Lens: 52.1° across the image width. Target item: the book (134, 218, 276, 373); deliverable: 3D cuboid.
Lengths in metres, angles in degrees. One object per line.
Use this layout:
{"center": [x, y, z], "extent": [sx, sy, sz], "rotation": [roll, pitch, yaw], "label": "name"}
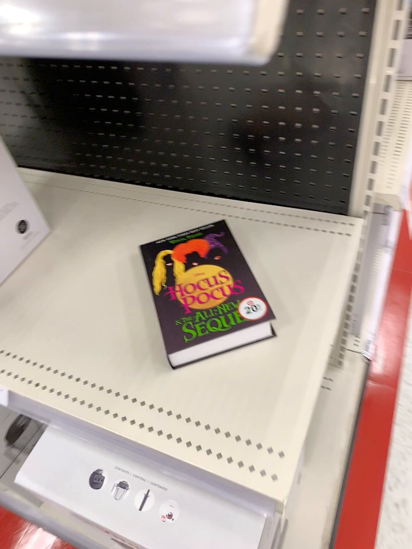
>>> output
{"center": [-0.009, 0.019, 0.613], "extent": [0.148, 0.050, 0.210], "rotation": [-17, 47, -5], "label": "book"}
